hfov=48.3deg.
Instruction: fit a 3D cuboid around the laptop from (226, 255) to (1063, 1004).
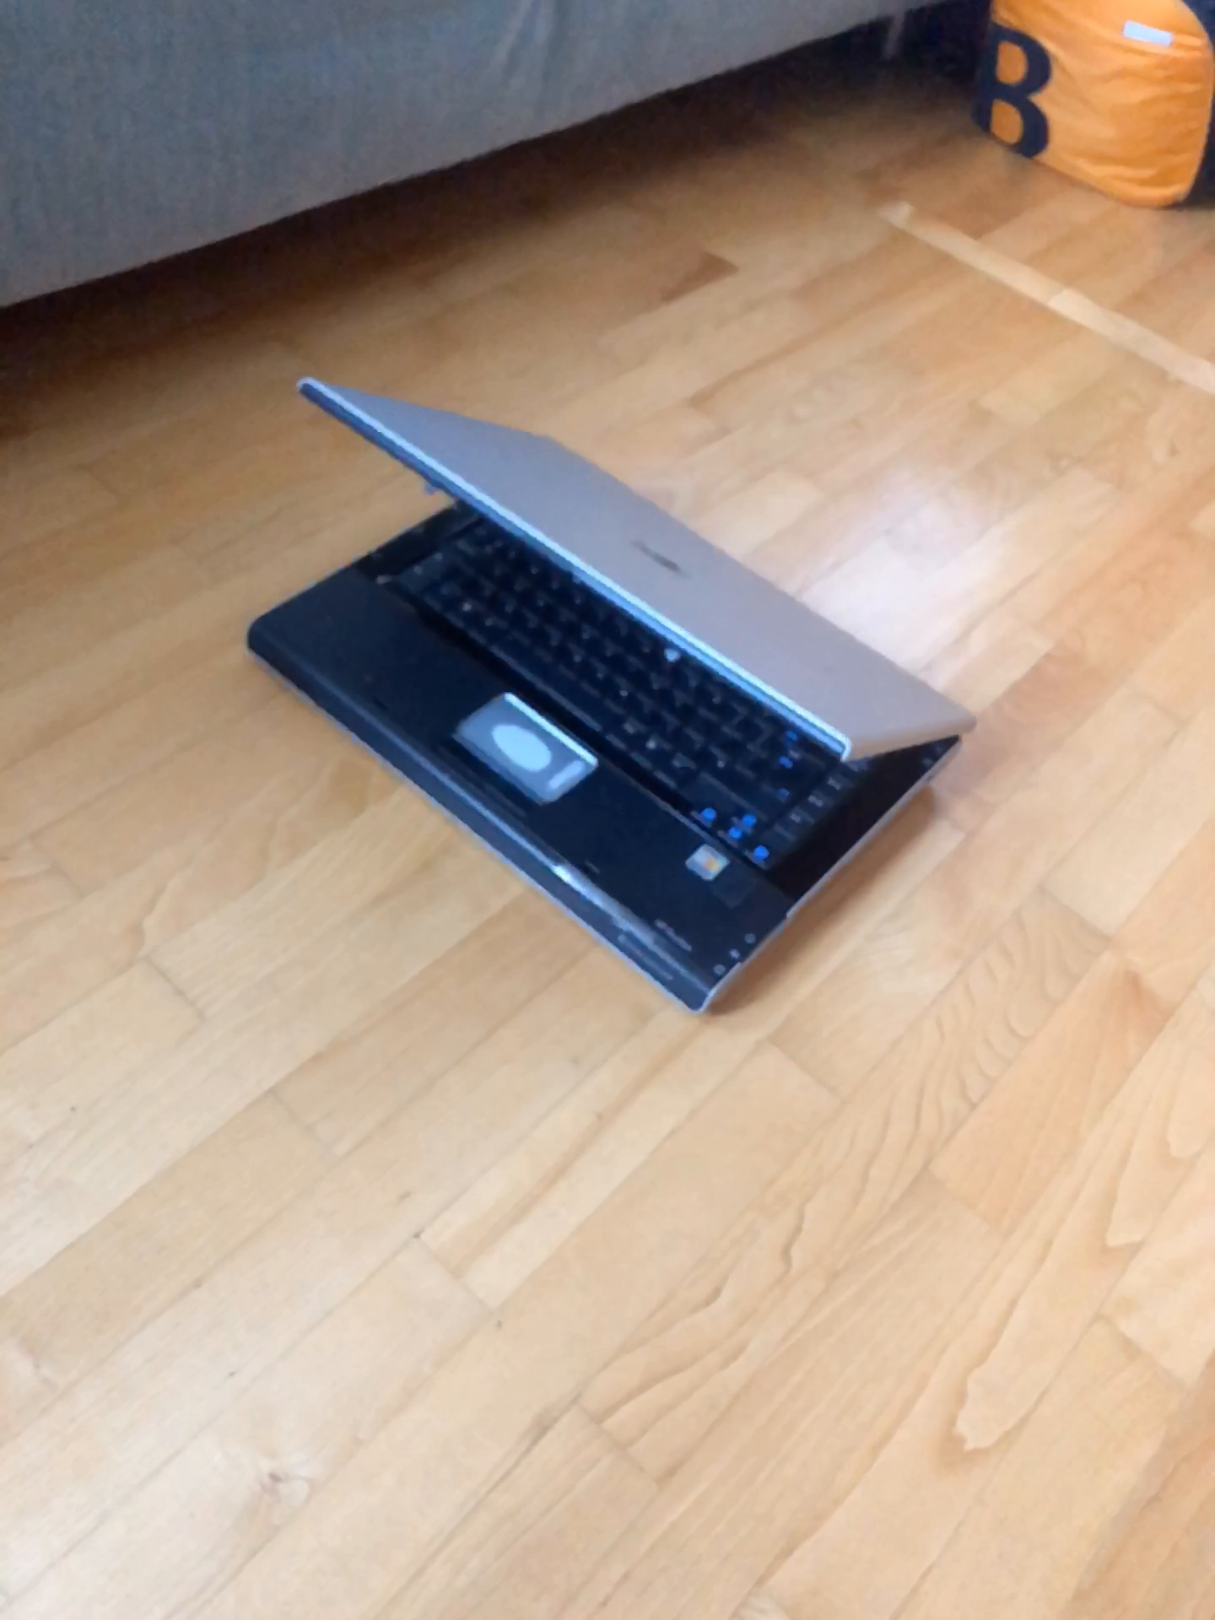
[{"bbox_3d":[0.012,-0.124,0.776,0.362,0.147,0.269,38,56,20],"label":"laptop"}]
